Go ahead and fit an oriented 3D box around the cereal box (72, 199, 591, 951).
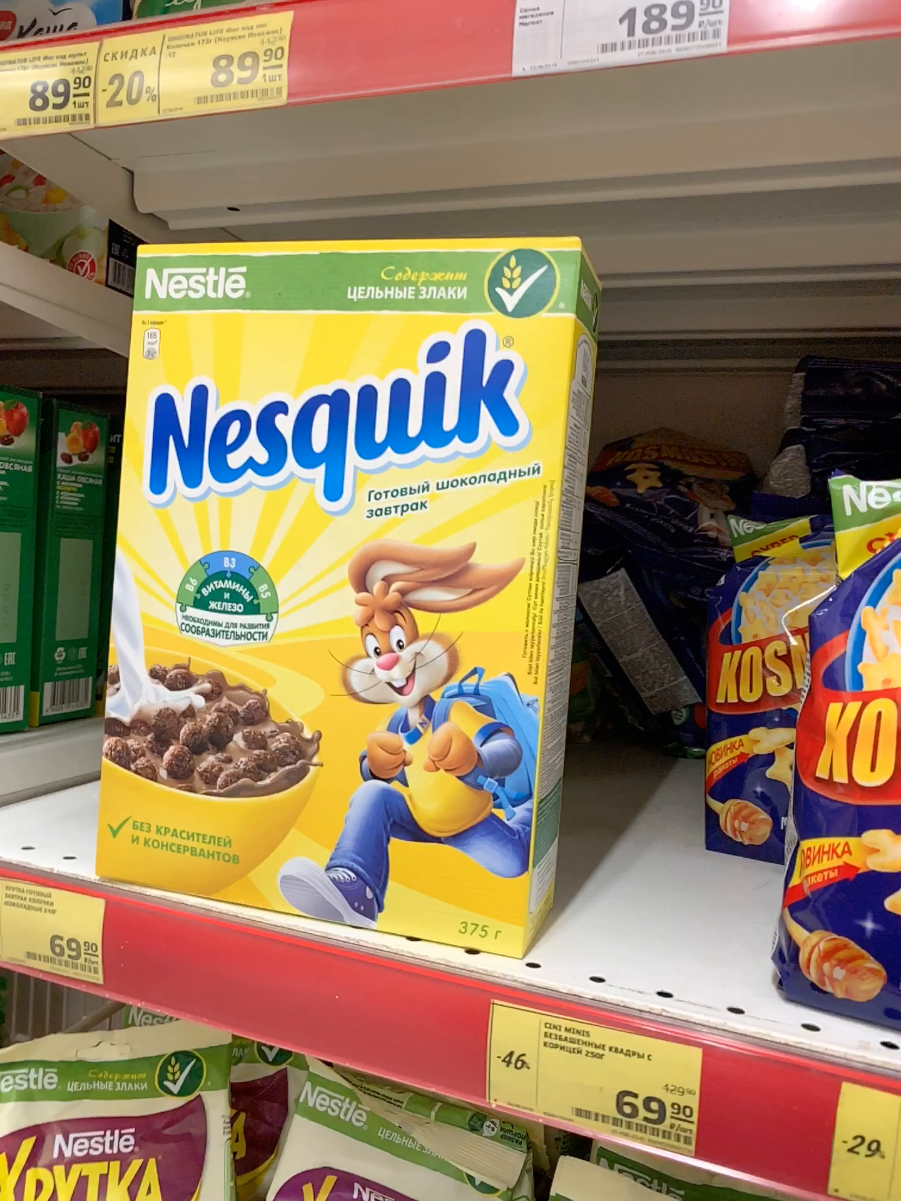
[{"bbox_3d":[-0.050,-0.016,0.388,0.190,0.270,0.060,5,2,16],"label":"cereal box"}]
